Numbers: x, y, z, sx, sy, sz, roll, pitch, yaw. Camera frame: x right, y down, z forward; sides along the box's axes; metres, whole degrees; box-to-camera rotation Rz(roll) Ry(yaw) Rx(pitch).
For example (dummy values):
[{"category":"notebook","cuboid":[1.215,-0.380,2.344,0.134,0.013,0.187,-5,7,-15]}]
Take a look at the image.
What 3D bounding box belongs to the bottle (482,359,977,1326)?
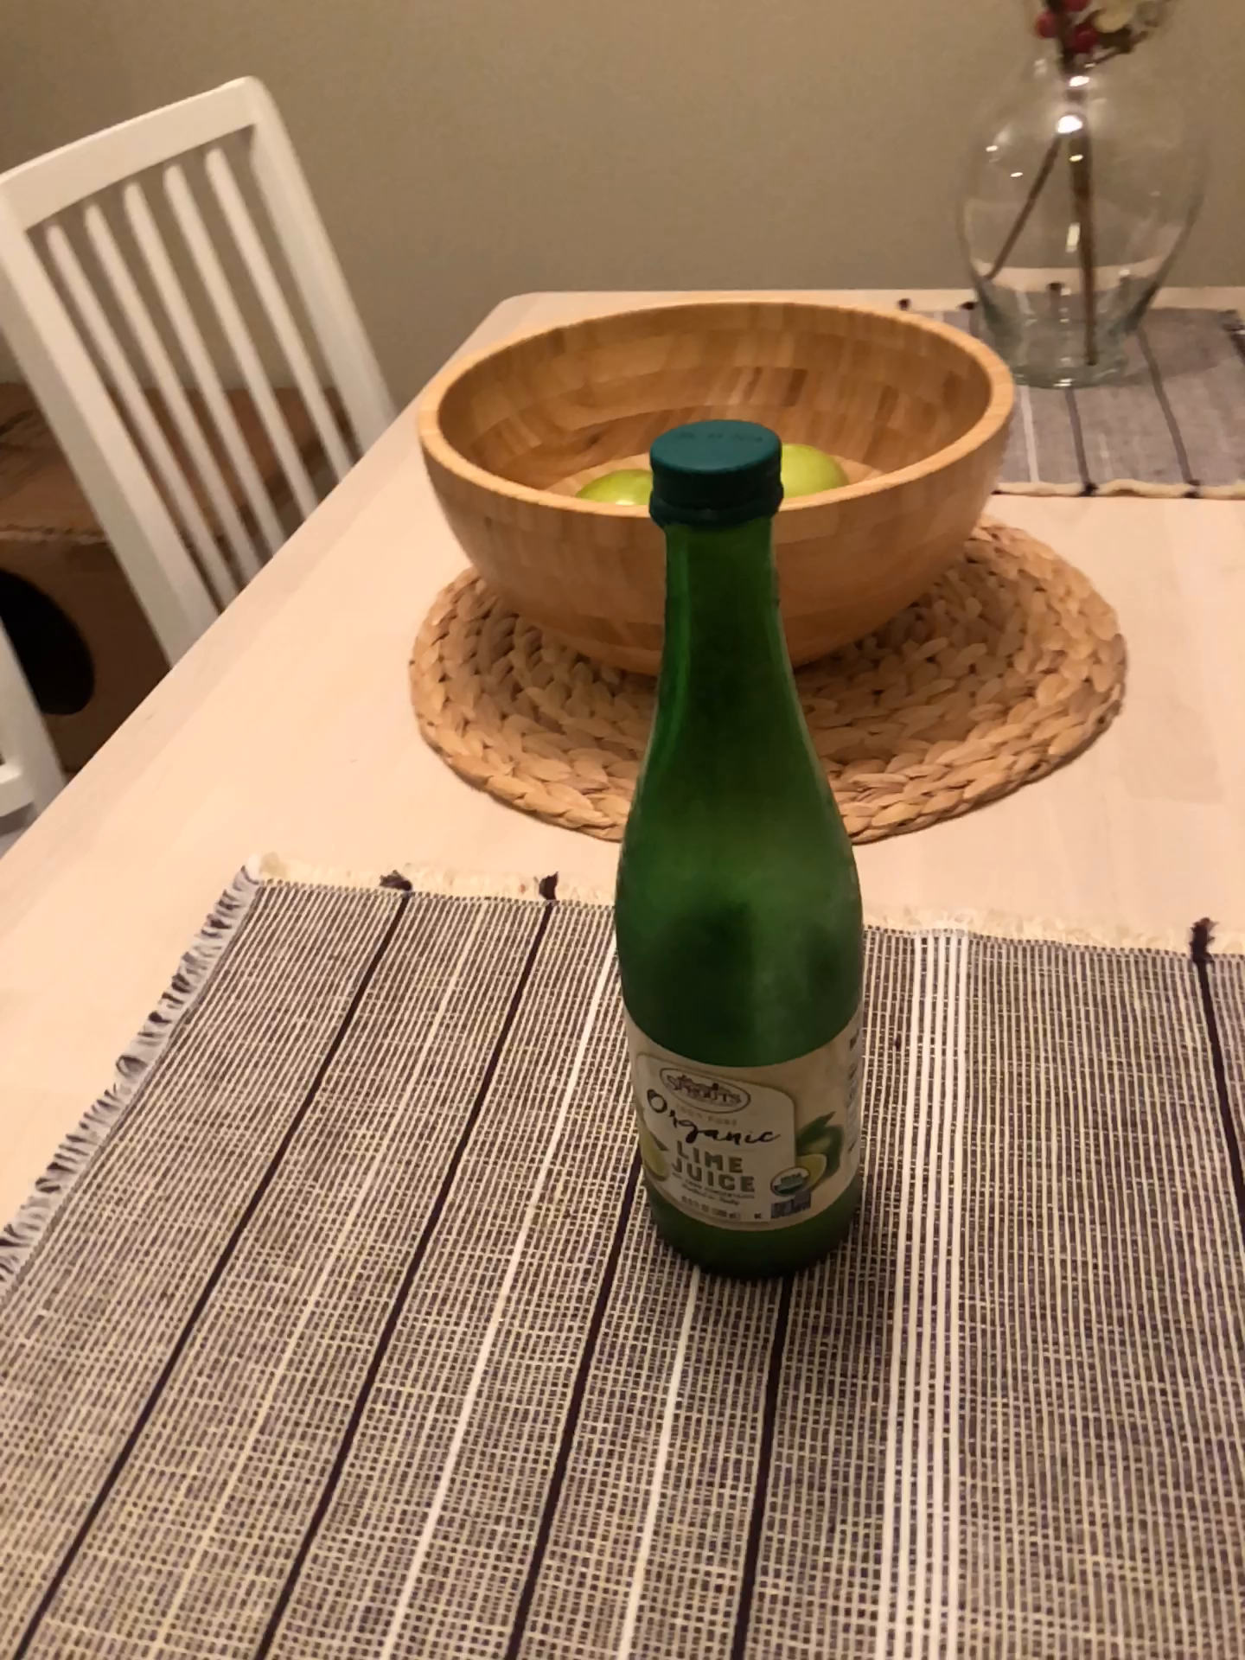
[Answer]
[{"category":"bottle","cuboid":[0.033,0.012,0.355,0.080,0.236,0.081,-3,36,2]}]
